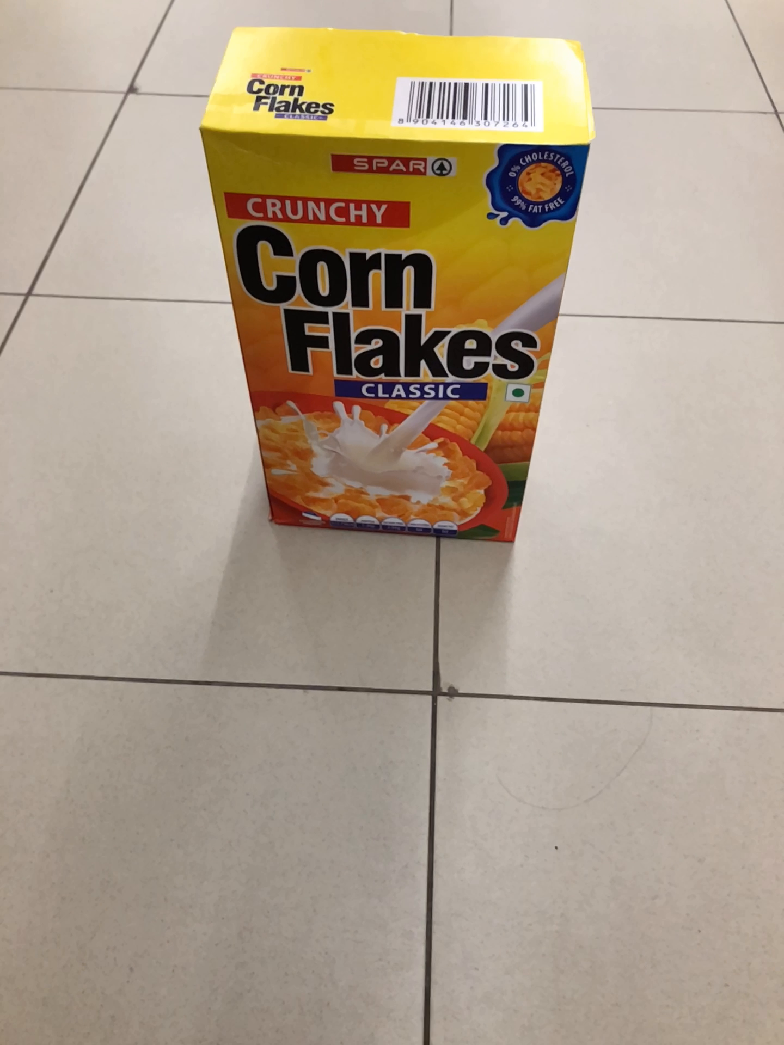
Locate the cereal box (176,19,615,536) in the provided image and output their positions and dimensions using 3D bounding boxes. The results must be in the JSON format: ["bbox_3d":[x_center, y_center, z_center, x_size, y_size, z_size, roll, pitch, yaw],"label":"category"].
[{"bbox_3d":[0.004,-0.129,0.541,0.200,0.298,0.101,4,52,3],"label":"cereal box"}]
